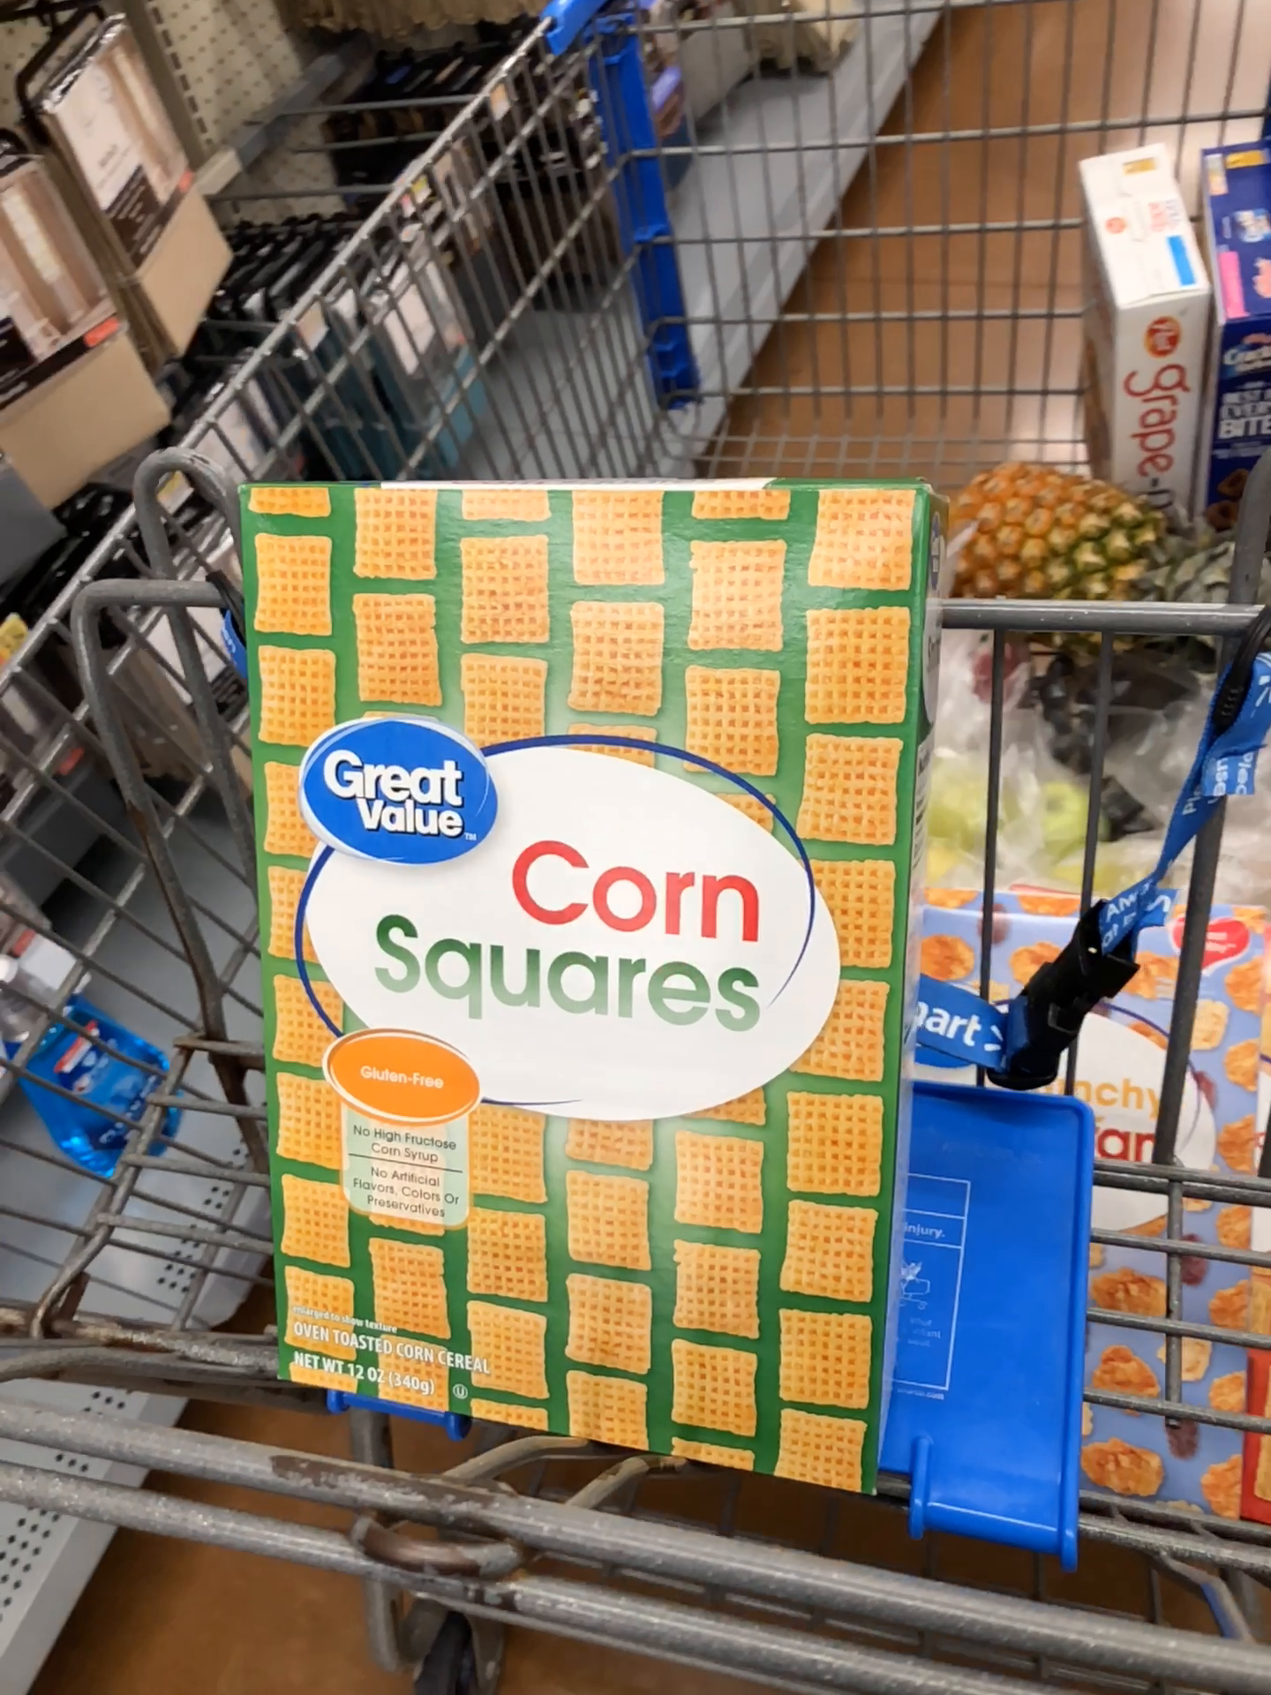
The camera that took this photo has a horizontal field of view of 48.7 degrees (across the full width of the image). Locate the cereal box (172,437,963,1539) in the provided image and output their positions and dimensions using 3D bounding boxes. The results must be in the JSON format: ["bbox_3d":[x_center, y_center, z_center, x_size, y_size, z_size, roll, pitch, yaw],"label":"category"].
[{"bbox_3d":[-0.017,0.033,0.404,0.200,0.280,0.070,3,12,16],"label":"cereal box"}]
